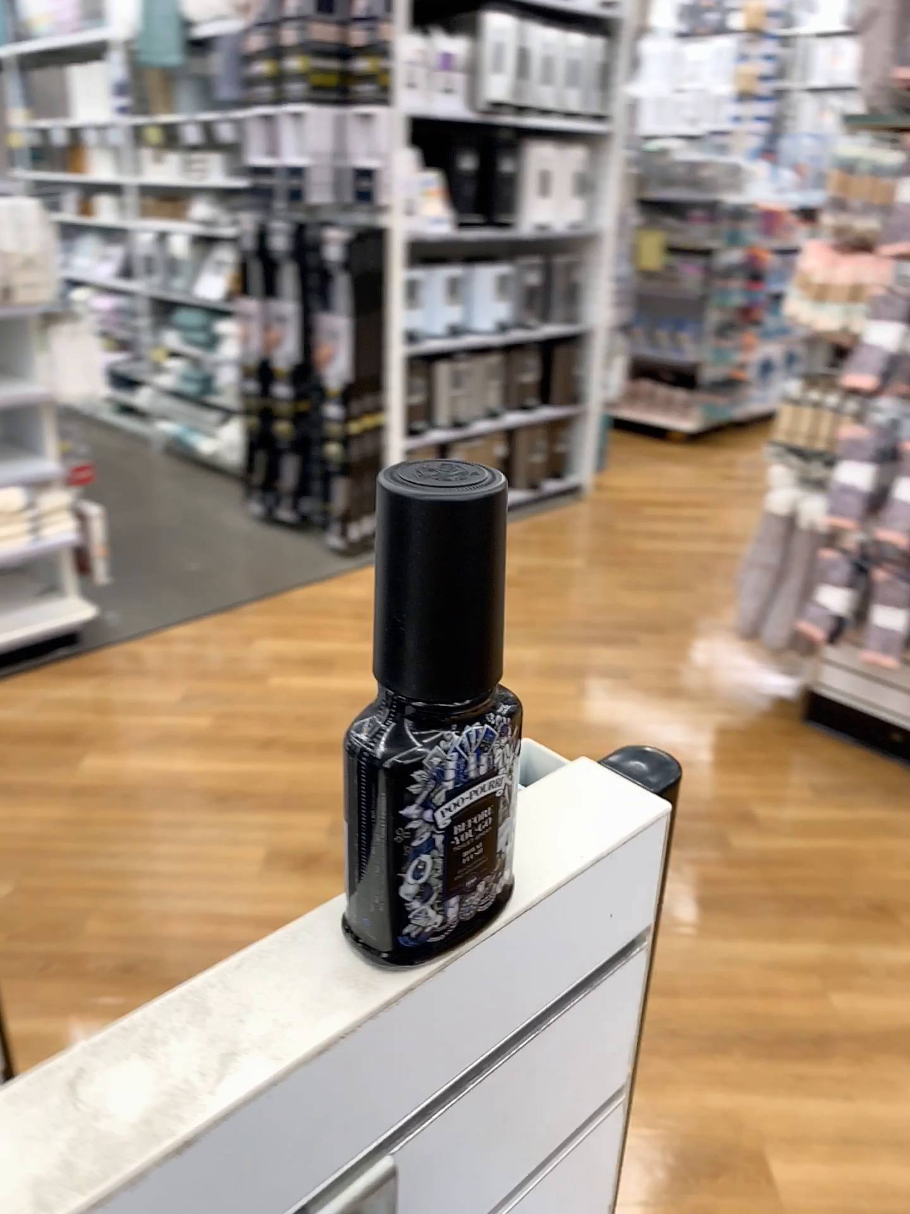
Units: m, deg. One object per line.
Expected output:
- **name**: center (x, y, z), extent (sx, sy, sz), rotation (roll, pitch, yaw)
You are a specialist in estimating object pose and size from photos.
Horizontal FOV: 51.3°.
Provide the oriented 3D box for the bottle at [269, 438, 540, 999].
- **bottle**: center (-0.012, 0.027, 0.231), extent (0.050, 0.123, 0.032), rotation (-20, 32, -40)
